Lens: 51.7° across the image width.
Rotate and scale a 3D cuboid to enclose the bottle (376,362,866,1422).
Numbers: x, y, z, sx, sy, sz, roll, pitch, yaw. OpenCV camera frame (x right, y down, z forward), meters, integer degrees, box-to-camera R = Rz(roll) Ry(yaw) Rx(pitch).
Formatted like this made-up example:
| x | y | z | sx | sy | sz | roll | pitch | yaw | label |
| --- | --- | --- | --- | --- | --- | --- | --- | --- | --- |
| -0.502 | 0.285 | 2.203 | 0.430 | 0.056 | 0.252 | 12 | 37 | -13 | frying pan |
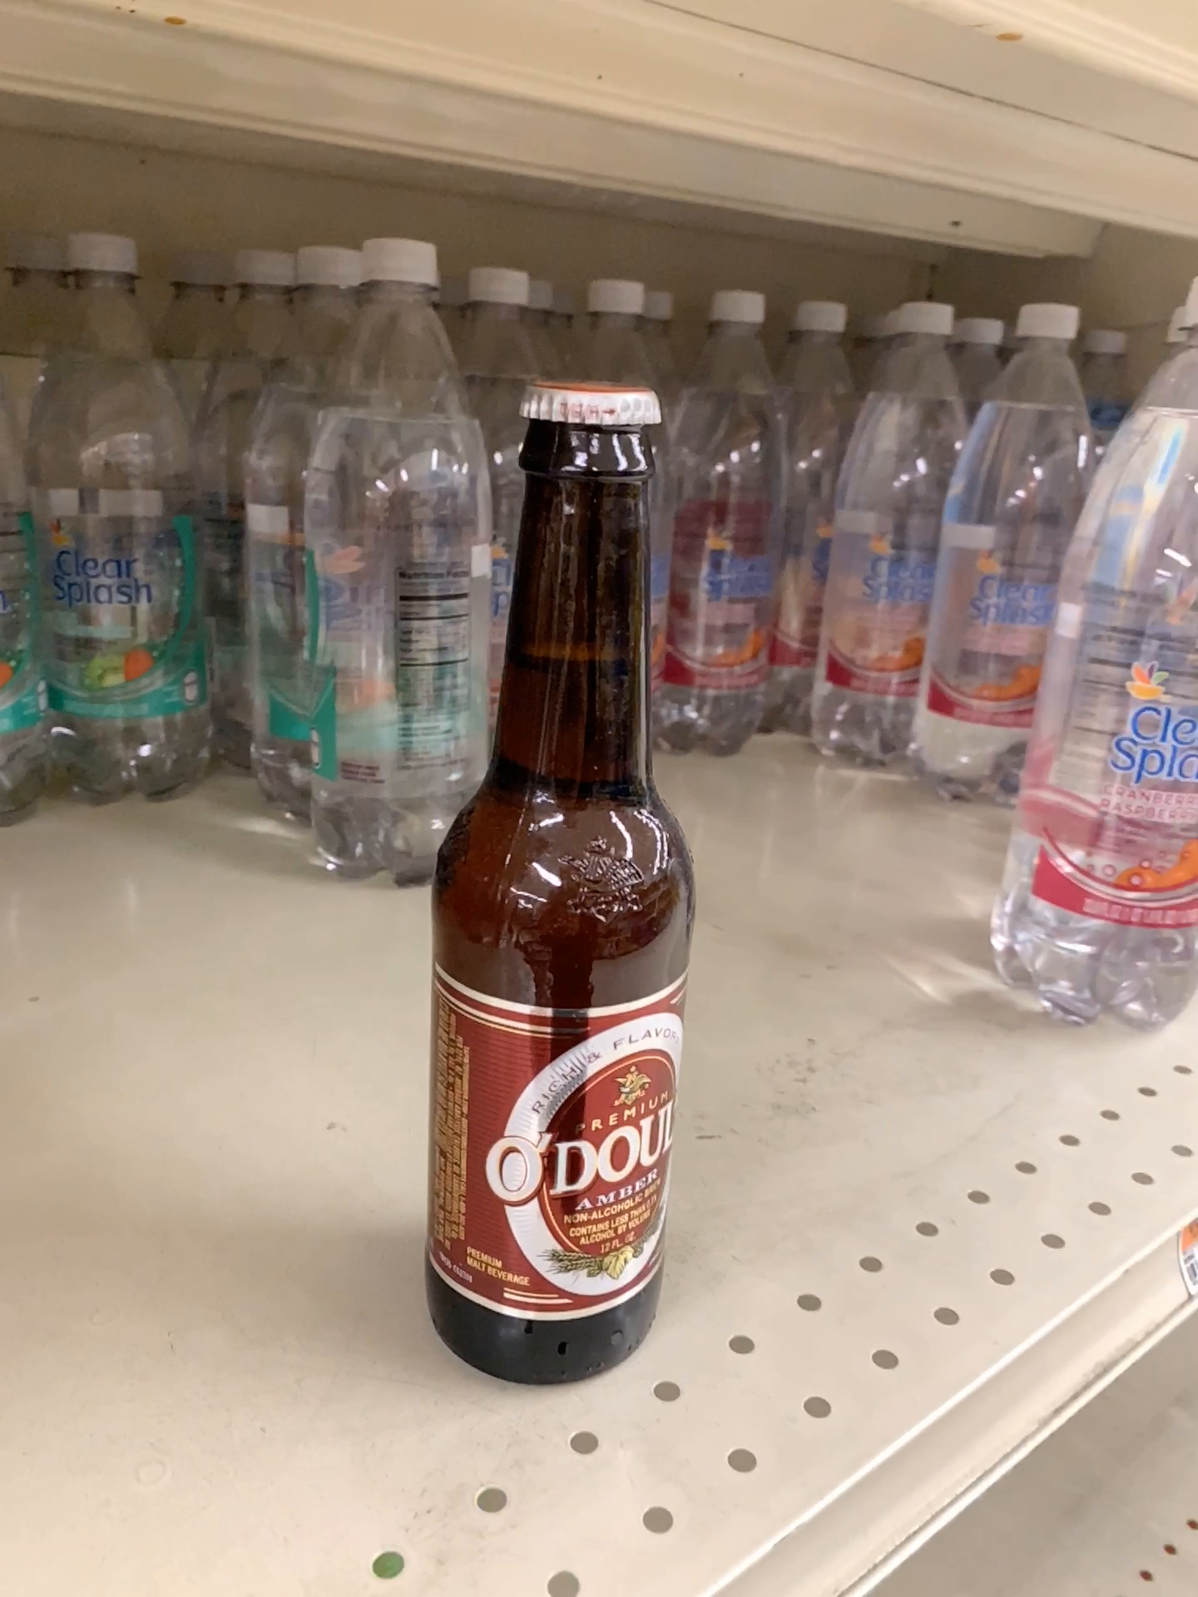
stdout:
| x | y | z | sx | sy | sz | roll | pitch | yaw | label |
| --- | --- | --- | --- | --- | --- | --- | --- | --- | --- |
| -0.004 | 0.020 | 0.283 | 0.070 | 0.219 | 0.070 | 4 | 20 | -1 | bottle |
